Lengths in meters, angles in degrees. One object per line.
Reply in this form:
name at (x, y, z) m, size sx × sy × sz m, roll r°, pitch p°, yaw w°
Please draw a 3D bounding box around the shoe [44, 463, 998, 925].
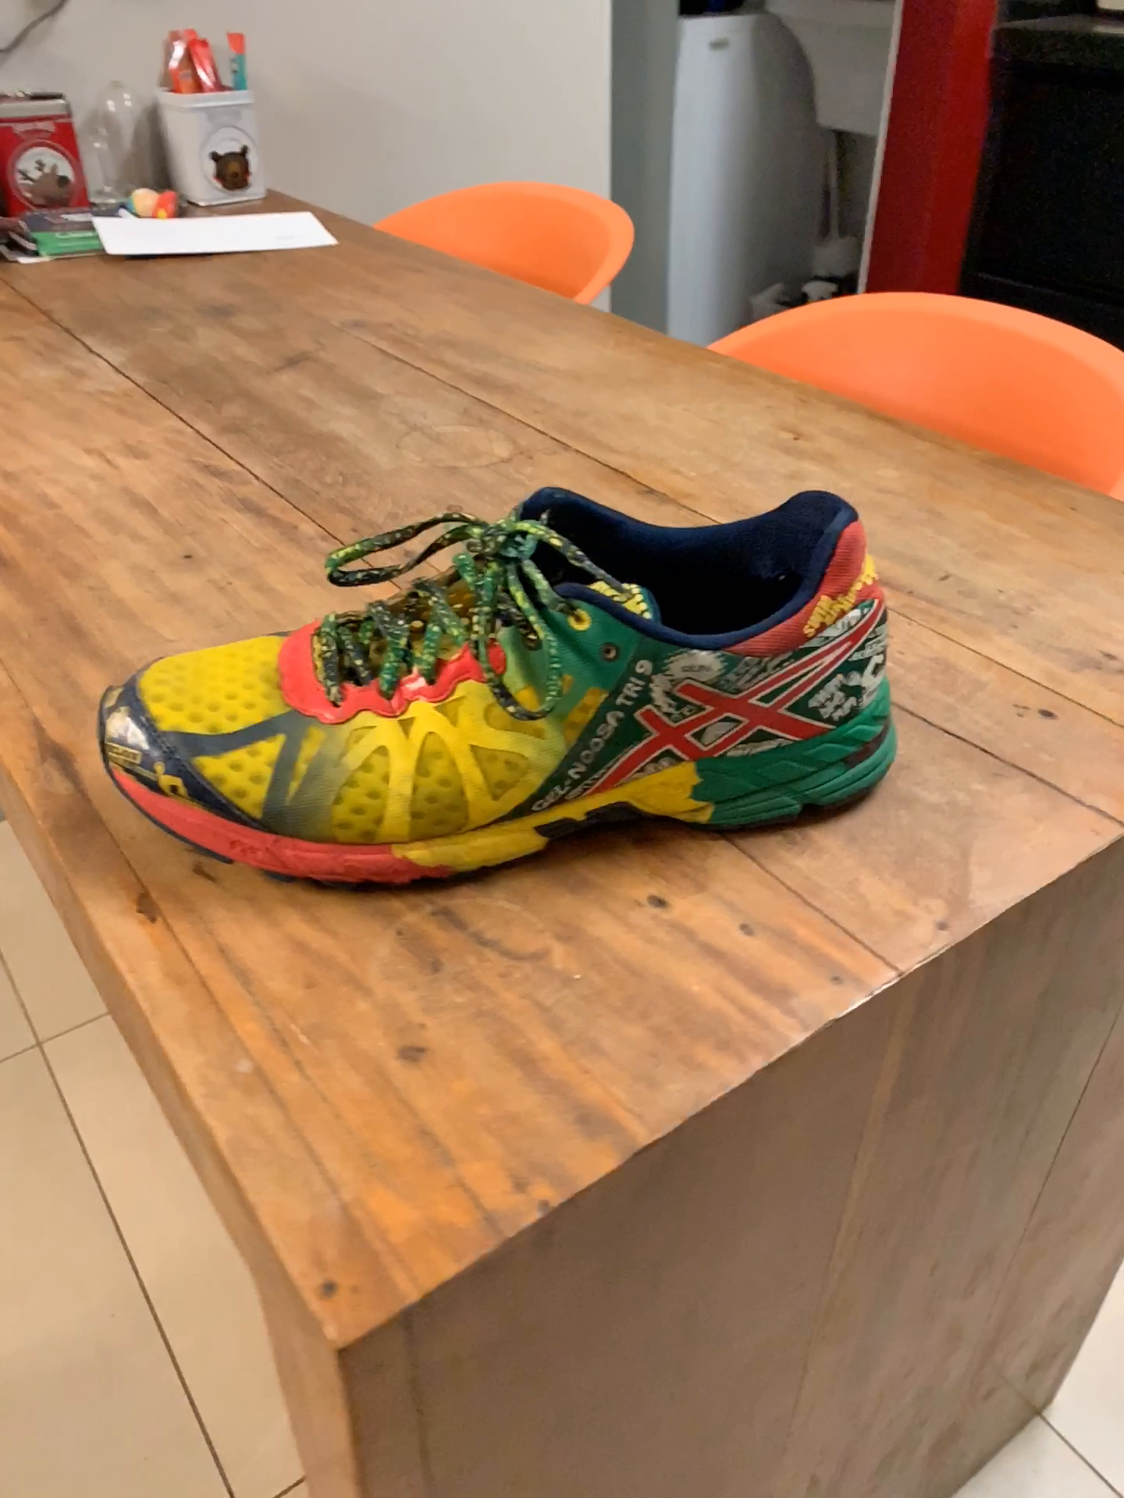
shoe at (-0.013, -0.026, 0.430) m, size 0.295 × 0.102 × 0.114 m, roll -5°, pitch 37°, yaw -5°
